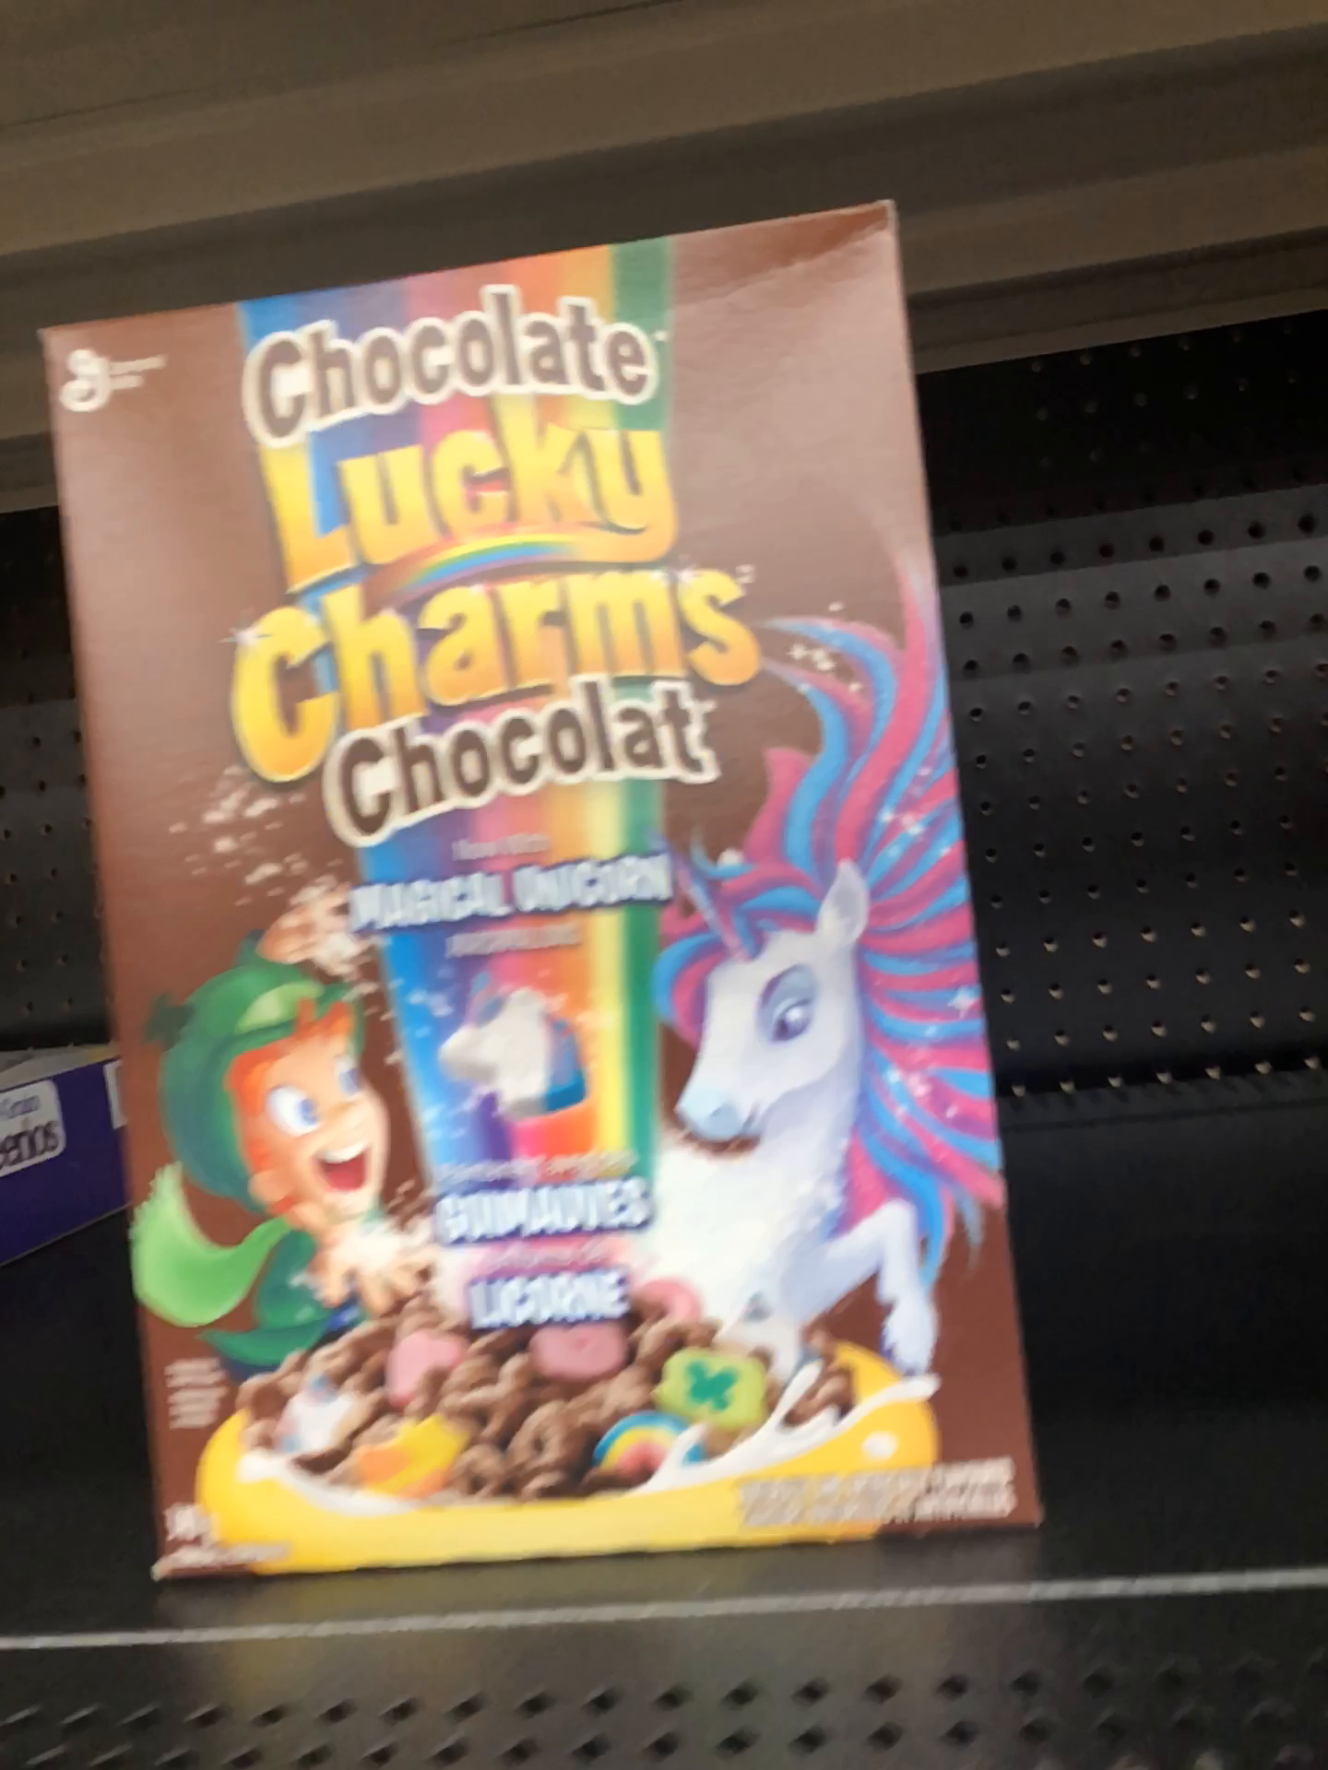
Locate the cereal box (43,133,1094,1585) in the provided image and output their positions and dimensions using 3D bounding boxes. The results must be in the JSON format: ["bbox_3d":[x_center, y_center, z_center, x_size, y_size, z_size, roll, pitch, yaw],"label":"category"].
[{"bbox_3d":[-0.023,-0.001,0.342,0.200,0.290,0.060,-6,-2,8],"label":"cereal box"}]
